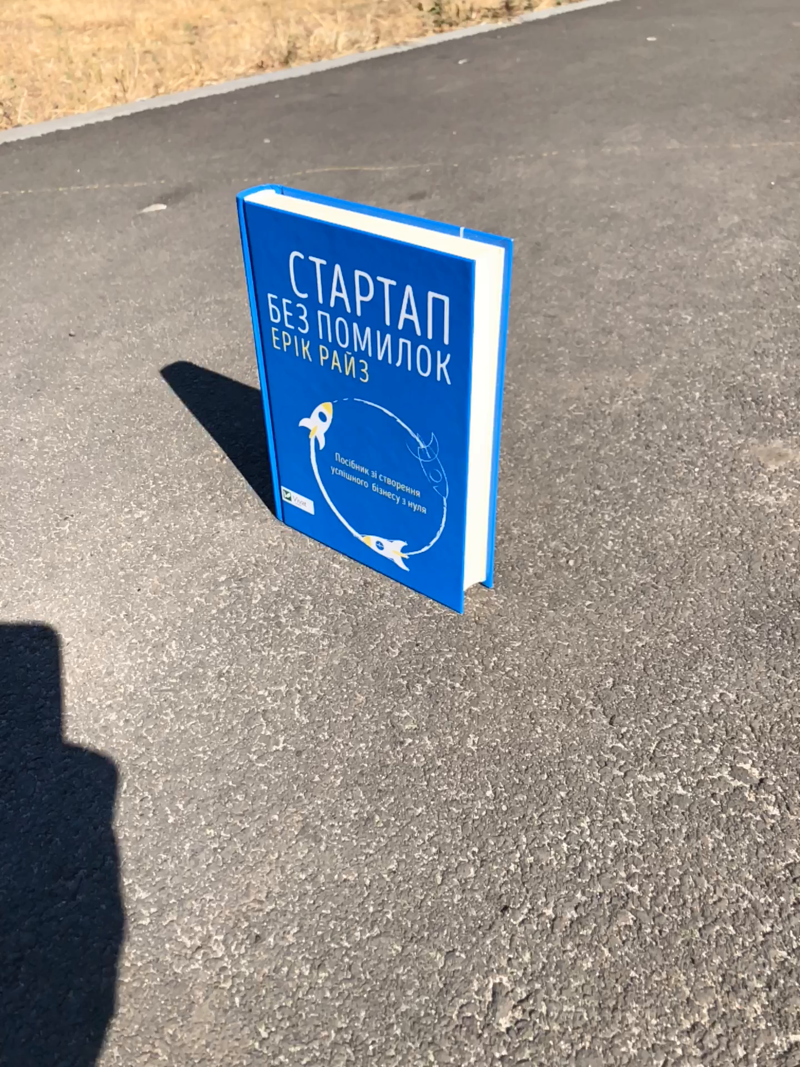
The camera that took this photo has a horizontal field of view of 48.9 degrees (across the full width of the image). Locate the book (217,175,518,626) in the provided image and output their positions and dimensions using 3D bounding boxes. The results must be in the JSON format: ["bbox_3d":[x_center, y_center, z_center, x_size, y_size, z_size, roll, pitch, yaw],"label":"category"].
[{"bbox_3d":[-0.019,-0.070,0.472,0.155,0.204,0.038,25,42,32],"label":"book"}]
